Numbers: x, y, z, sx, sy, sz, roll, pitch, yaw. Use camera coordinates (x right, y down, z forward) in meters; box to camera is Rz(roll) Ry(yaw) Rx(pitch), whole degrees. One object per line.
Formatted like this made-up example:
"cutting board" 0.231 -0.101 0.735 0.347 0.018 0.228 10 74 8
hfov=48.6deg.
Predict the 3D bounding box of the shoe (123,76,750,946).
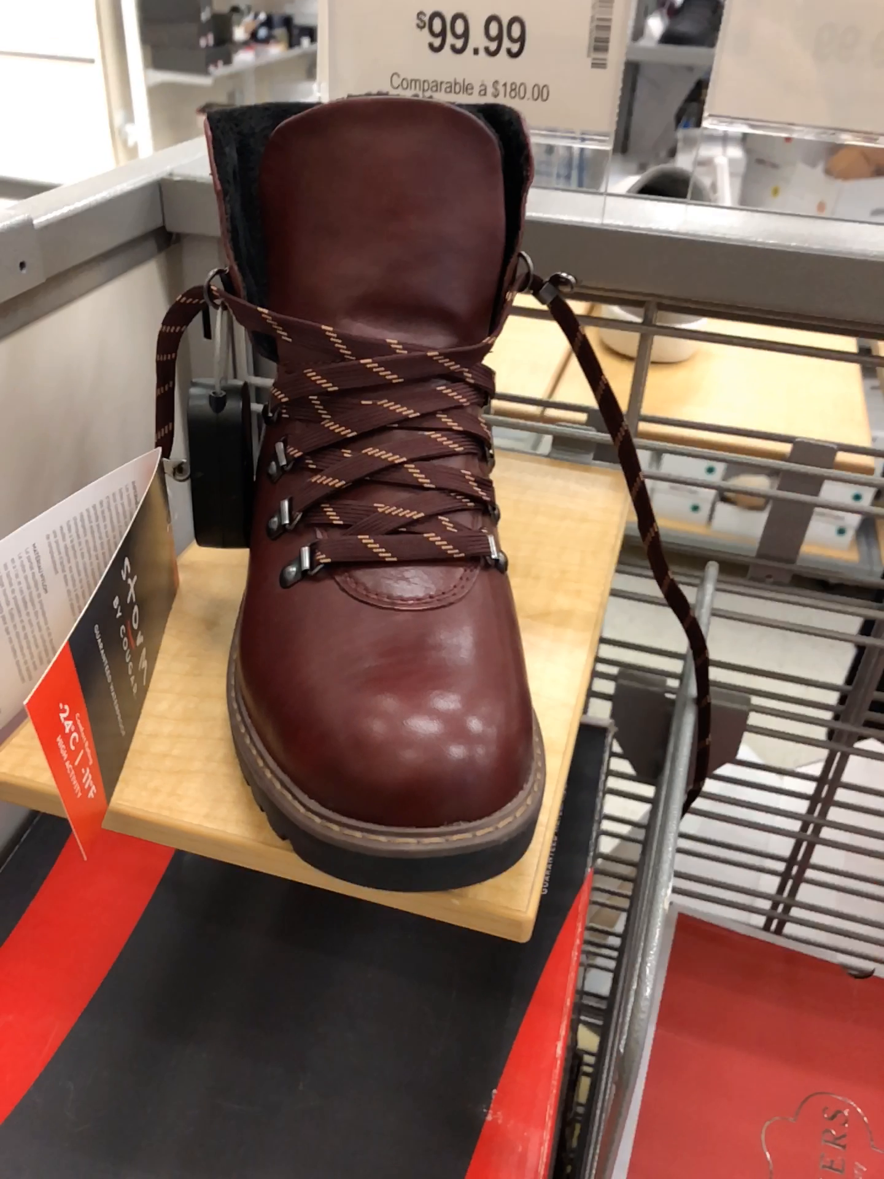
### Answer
"shoe" -0.022 -0.047 0.305 0.107 0.169 0.232 -3 35 -10
